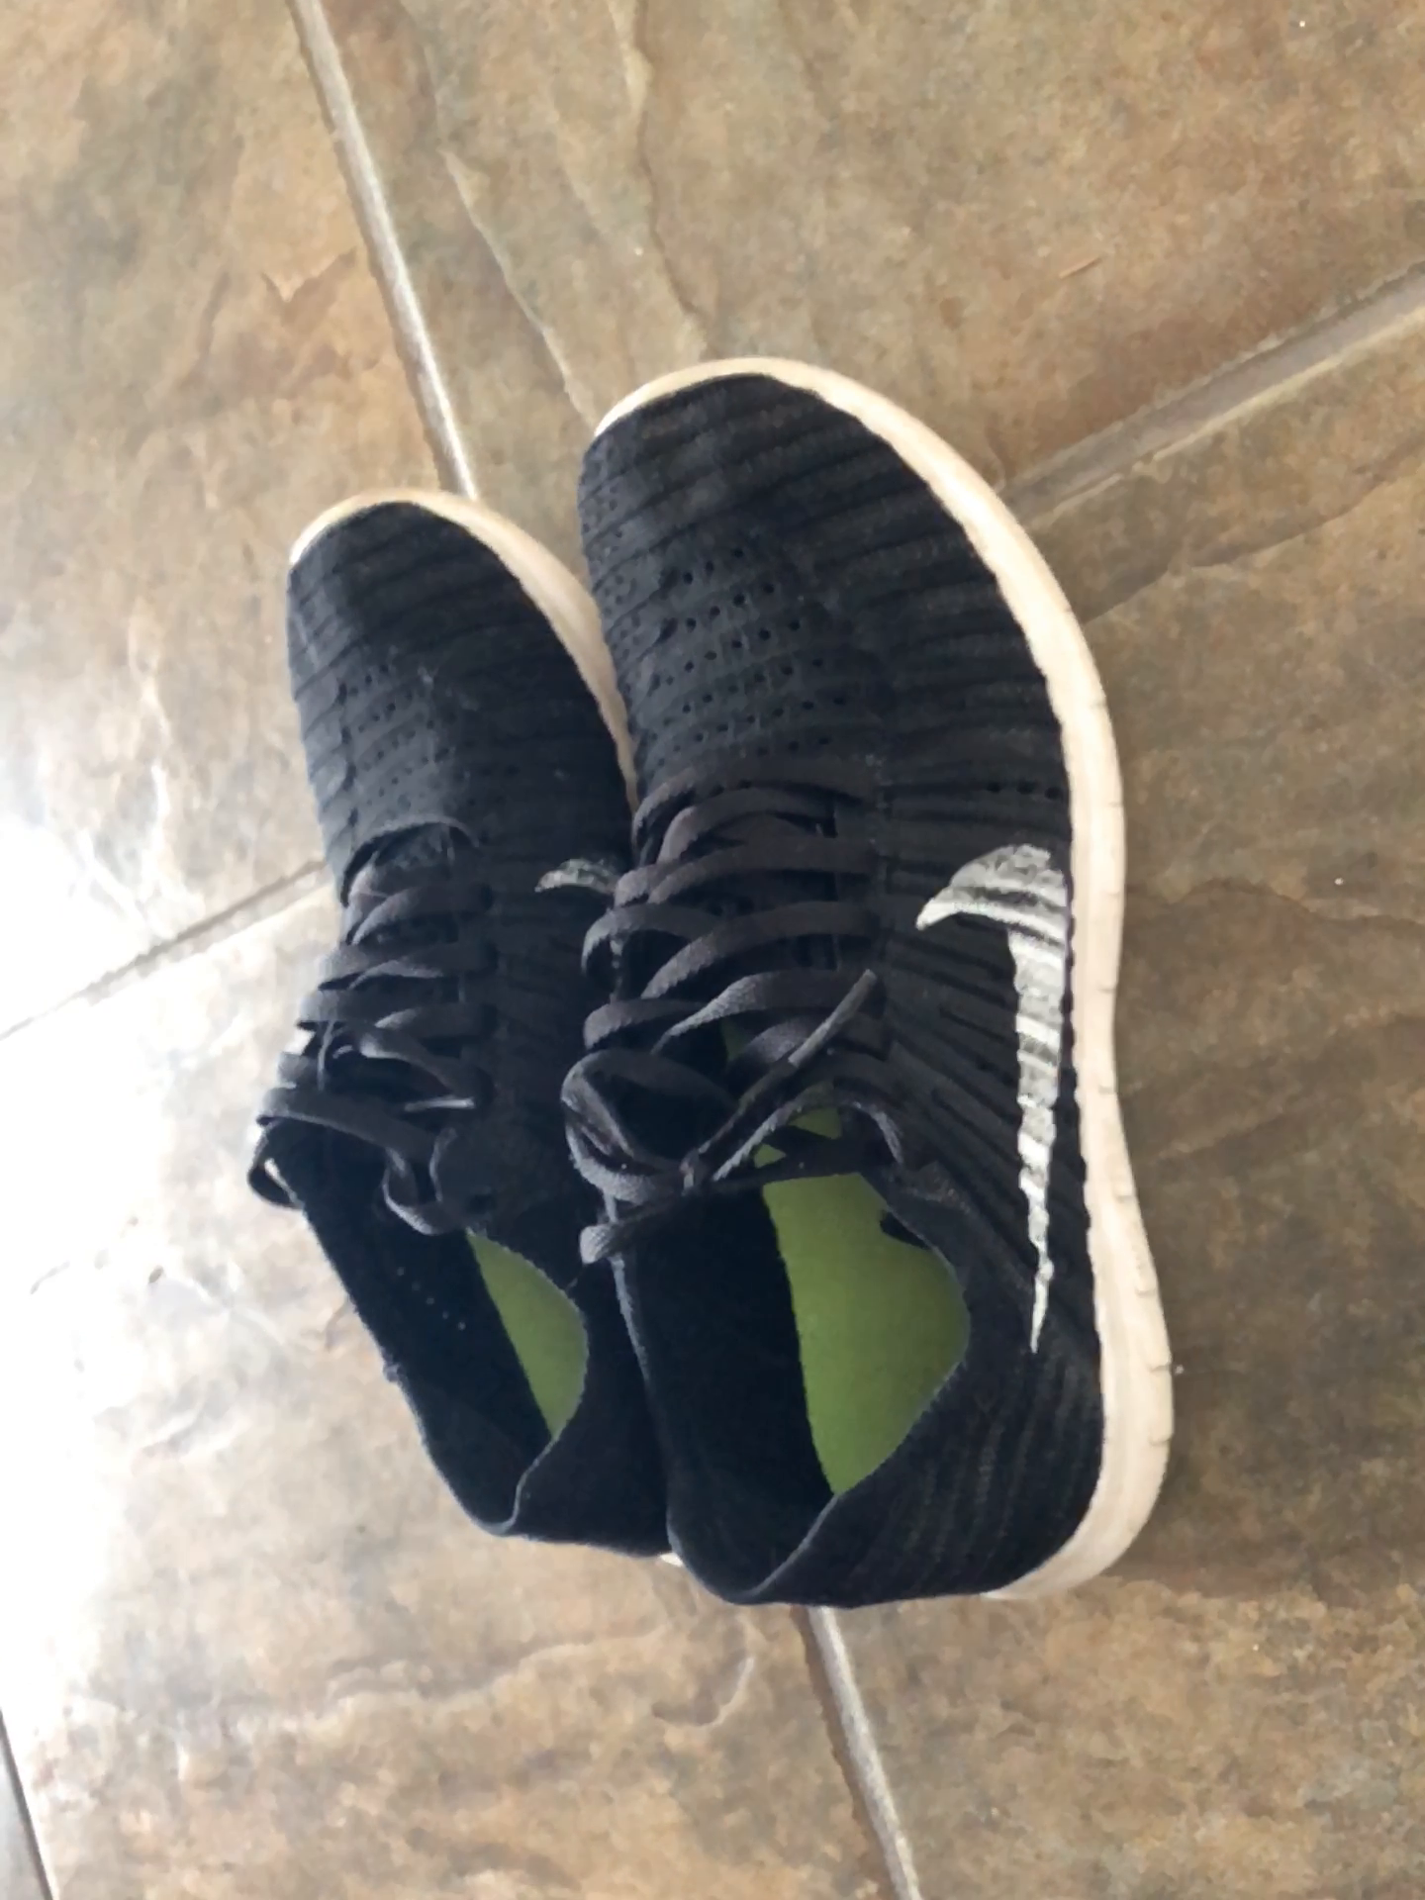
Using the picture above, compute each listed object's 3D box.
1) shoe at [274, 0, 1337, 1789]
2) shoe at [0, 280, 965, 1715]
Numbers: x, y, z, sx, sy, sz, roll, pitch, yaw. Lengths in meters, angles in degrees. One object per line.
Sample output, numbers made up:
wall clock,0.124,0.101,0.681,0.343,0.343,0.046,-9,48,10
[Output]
shoe,0.018,-0.005,0.294,0.110,0.100,0.260,-15,85,32
shoe,-0.053,0.012,0.352,0.110,0.100,0.260,-22,81,31
